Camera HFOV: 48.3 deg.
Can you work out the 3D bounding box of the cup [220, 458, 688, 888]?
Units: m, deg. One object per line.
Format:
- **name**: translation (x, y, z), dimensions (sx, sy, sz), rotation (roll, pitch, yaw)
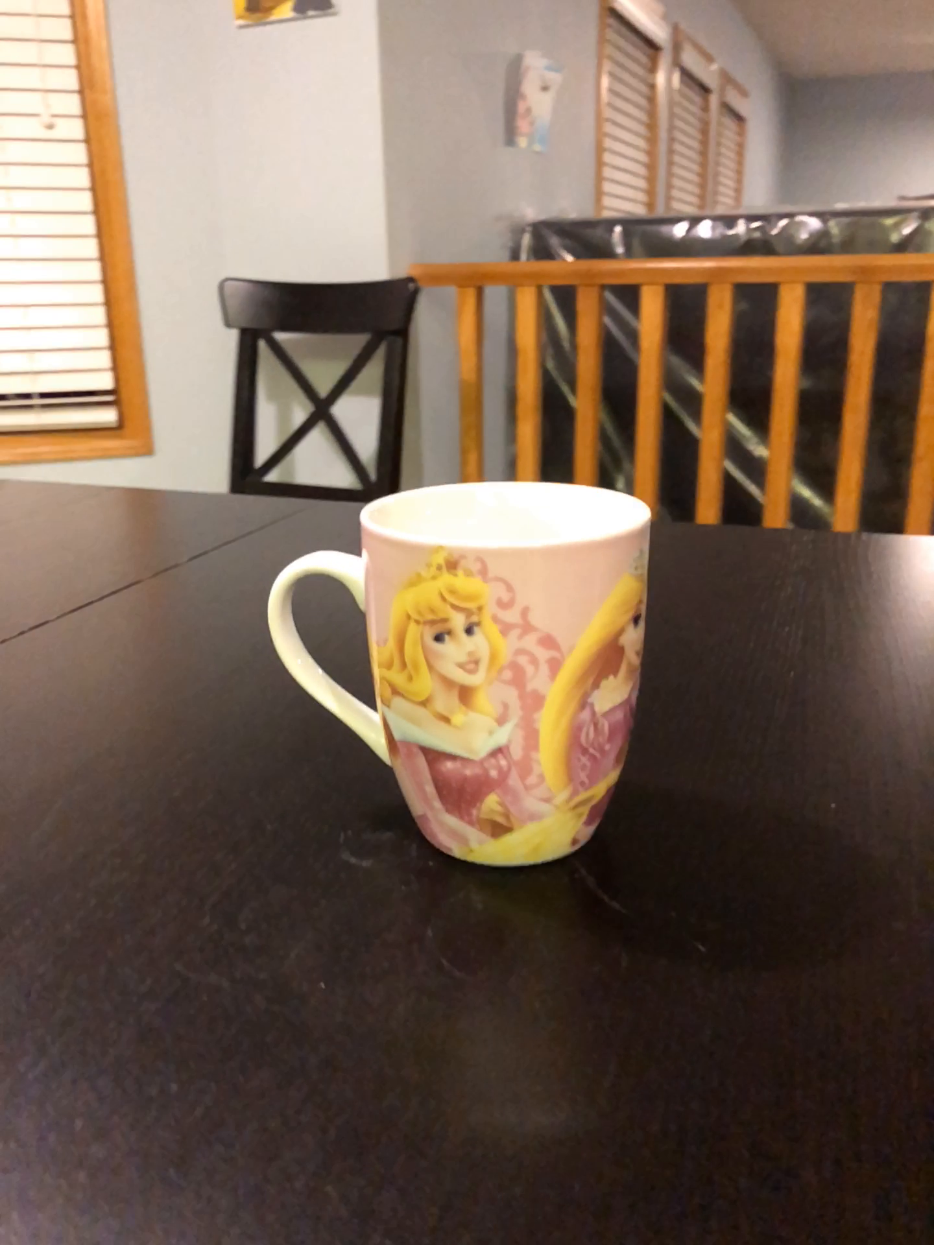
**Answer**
- **cup**: translation (0.003, 0.007, 0.324), dimensions (0.120, 0.100, 0.090), rotation (4, 18, 14)
